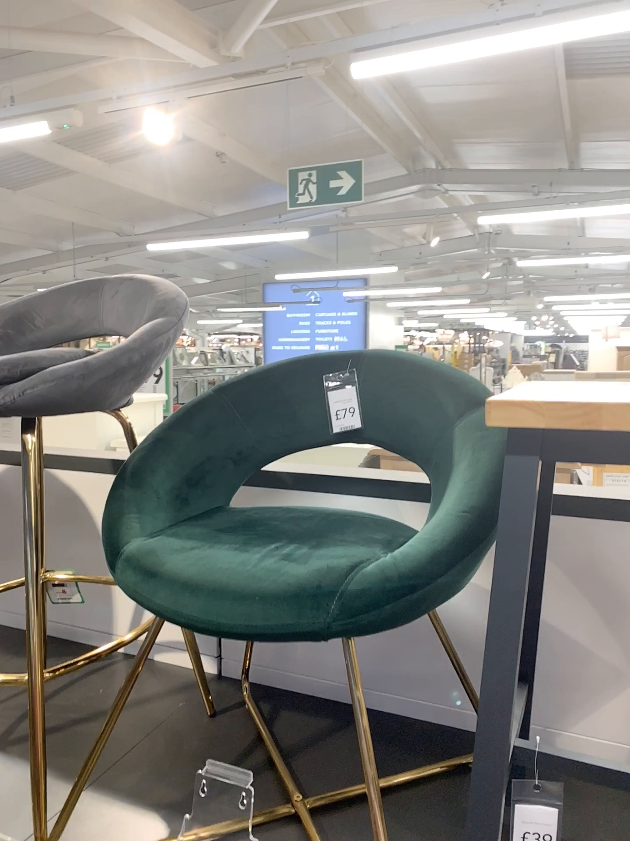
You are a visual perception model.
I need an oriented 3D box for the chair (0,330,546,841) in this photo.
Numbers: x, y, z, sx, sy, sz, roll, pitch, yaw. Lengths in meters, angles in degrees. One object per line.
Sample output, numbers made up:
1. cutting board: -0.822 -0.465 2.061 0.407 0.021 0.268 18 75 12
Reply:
1. chair: -0.017 0.227 1.006 0.634 0.699 0.670 2 6 25
